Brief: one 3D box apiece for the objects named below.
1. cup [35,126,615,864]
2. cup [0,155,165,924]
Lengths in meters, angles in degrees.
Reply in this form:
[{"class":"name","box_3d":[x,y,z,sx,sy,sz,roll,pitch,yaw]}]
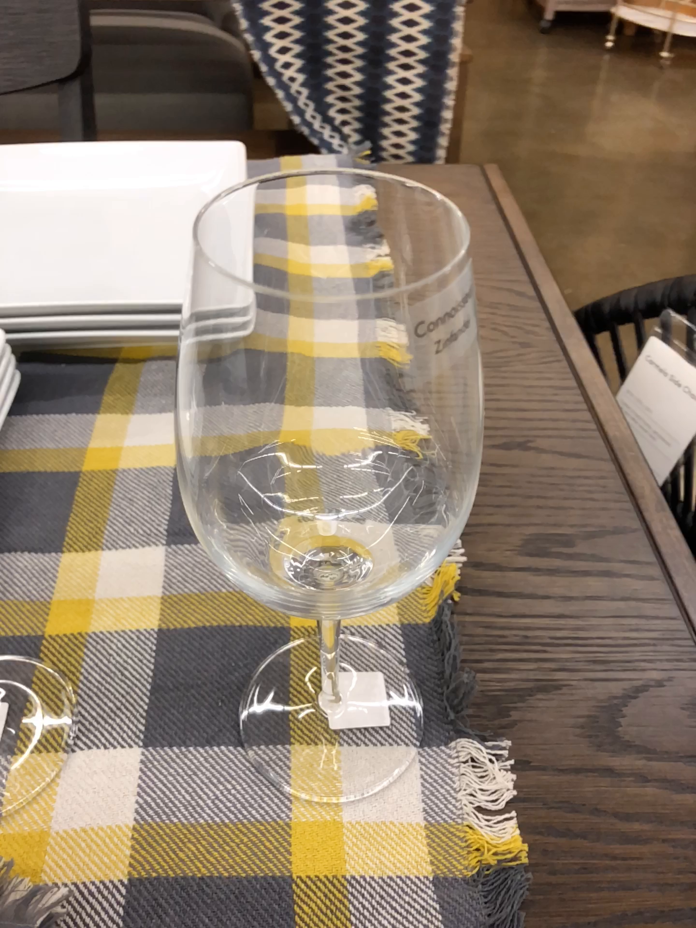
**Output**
[{"class":"cup","box_3d":[-0.005,0.017,0.241,0.097,0.192,0.092,1,42,-1]},{"class":"cup","box_3d":[-0.135,0.030,0.230,0.097,0.193,0.092,1,42,-1]}]
